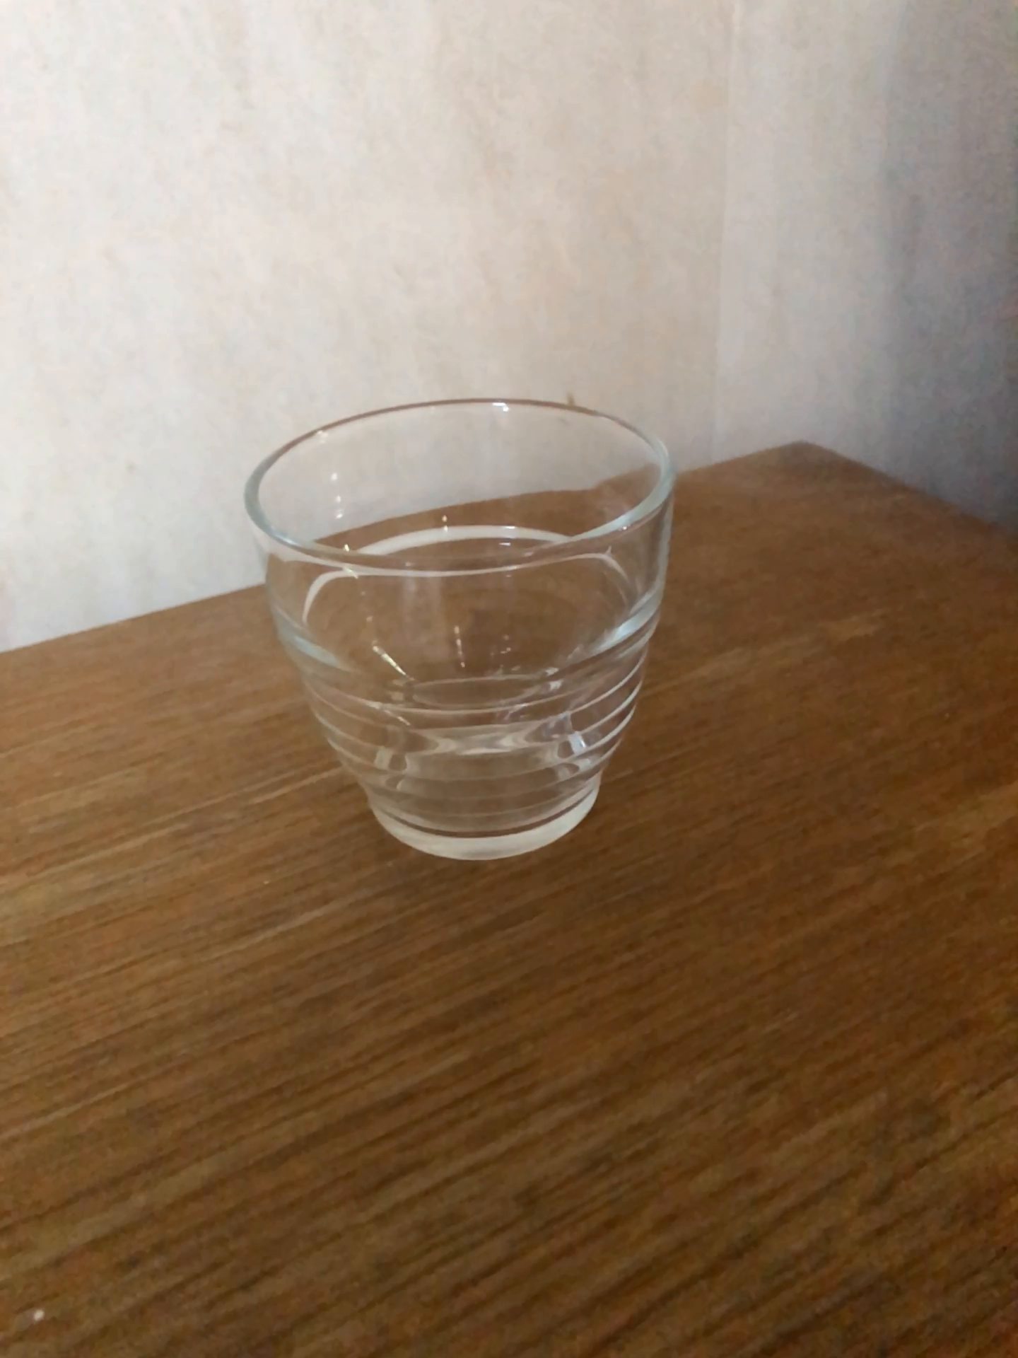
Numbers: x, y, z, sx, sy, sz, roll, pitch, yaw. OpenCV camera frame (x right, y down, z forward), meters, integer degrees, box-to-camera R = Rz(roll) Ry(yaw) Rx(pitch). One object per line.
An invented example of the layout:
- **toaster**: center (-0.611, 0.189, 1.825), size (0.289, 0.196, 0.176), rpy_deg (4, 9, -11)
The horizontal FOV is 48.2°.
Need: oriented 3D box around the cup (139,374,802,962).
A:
- **cup**: center (-0.004, -0.011, 0.208), size (0.080, 0.060, 0.080), rpy_deg (-2, 30, 1)
